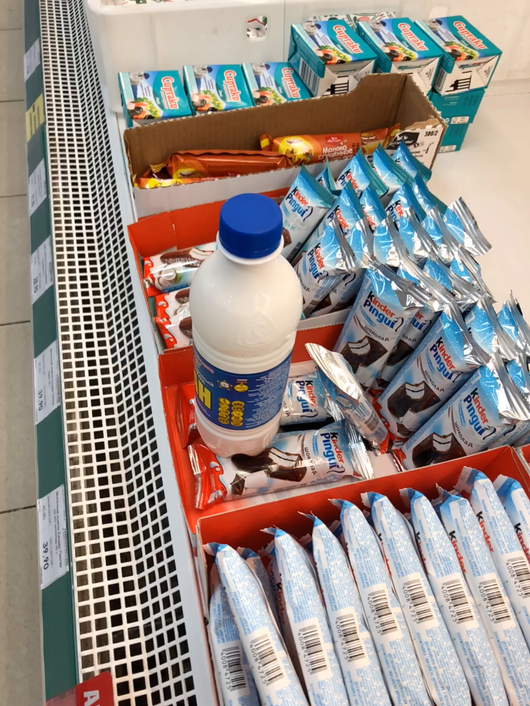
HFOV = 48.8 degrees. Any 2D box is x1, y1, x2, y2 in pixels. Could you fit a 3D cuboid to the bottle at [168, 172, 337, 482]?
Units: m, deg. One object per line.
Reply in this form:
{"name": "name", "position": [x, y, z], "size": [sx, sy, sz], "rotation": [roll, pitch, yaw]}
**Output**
{"name": "bottle", "position": [-0.014, 0.000, 0.354], "size": [0.059, 0.203, 0.064], "rotation": [2, 54, -3]}
